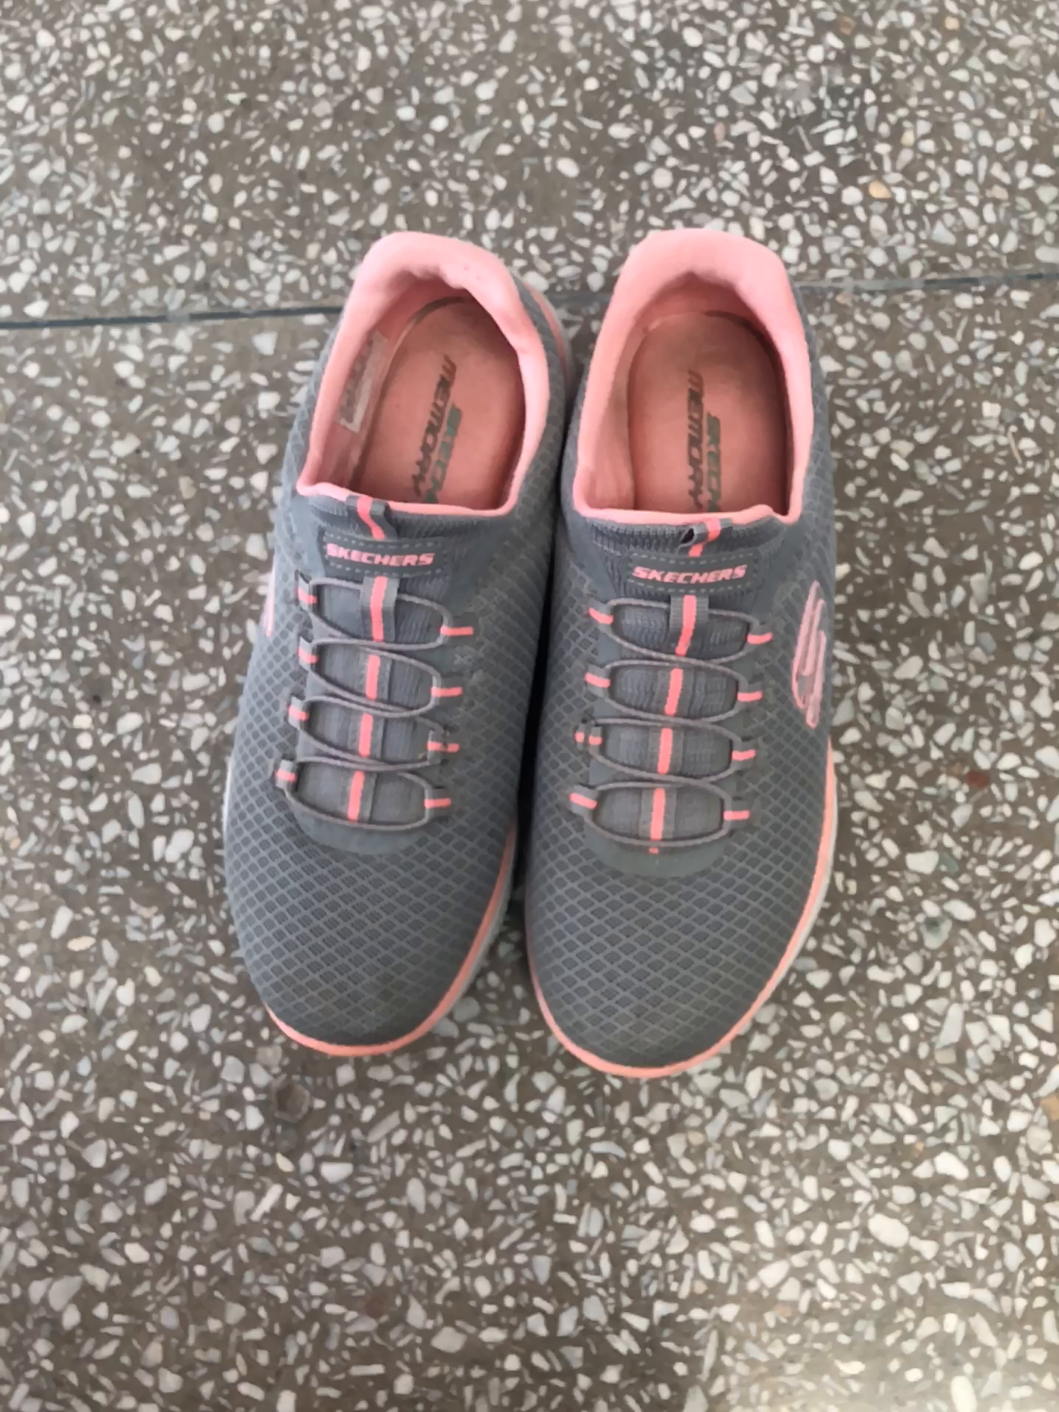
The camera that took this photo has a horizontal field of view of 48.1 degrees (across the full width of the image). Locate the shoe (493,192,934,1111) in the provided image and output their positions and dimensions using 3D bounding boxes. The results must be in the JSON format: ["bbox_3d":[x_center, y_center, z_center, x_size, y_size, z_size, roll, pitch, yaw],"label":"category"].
[{"bbox_3d":[0.052,-0.014,0.351,0.090,0.100,0.230,6,81,4],"label":"shoe"}]

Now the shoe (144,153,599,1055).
[{"bbox_3d":[-0.037,-0.028,0.368,0.090,0.100,0.240,6,81,4],"label":"shoe"}]
